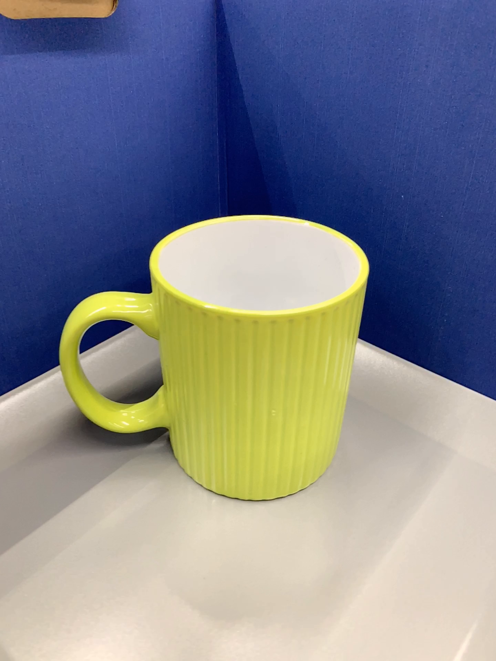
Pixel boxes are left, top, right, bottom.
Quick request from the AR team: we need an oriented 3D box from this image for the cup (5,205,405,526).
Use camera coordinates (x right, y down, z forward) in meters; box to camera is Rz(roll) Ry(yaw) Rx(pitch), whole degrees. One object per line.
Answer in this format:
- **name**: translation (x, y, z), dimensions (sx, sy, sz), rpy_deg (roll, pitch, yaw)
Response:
- **cup**: translation (-0.018, 0.010, 0.230), dimensions (0.129, 0.098, 0.091), rpy_deg (-4, 33, -7)
